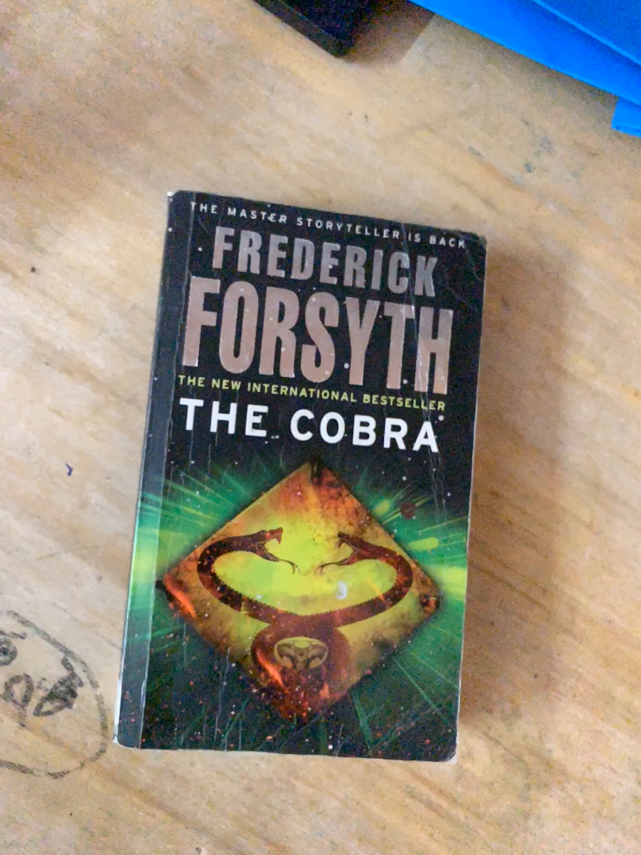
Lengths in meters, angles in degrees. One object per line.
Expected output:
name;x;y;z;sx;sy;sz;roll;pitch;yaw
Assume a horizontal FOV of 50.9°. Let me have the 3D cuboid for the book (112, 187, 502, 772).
book;-0.003;0.017;0.213;0.100;0.040;0.160;5;85;-8
